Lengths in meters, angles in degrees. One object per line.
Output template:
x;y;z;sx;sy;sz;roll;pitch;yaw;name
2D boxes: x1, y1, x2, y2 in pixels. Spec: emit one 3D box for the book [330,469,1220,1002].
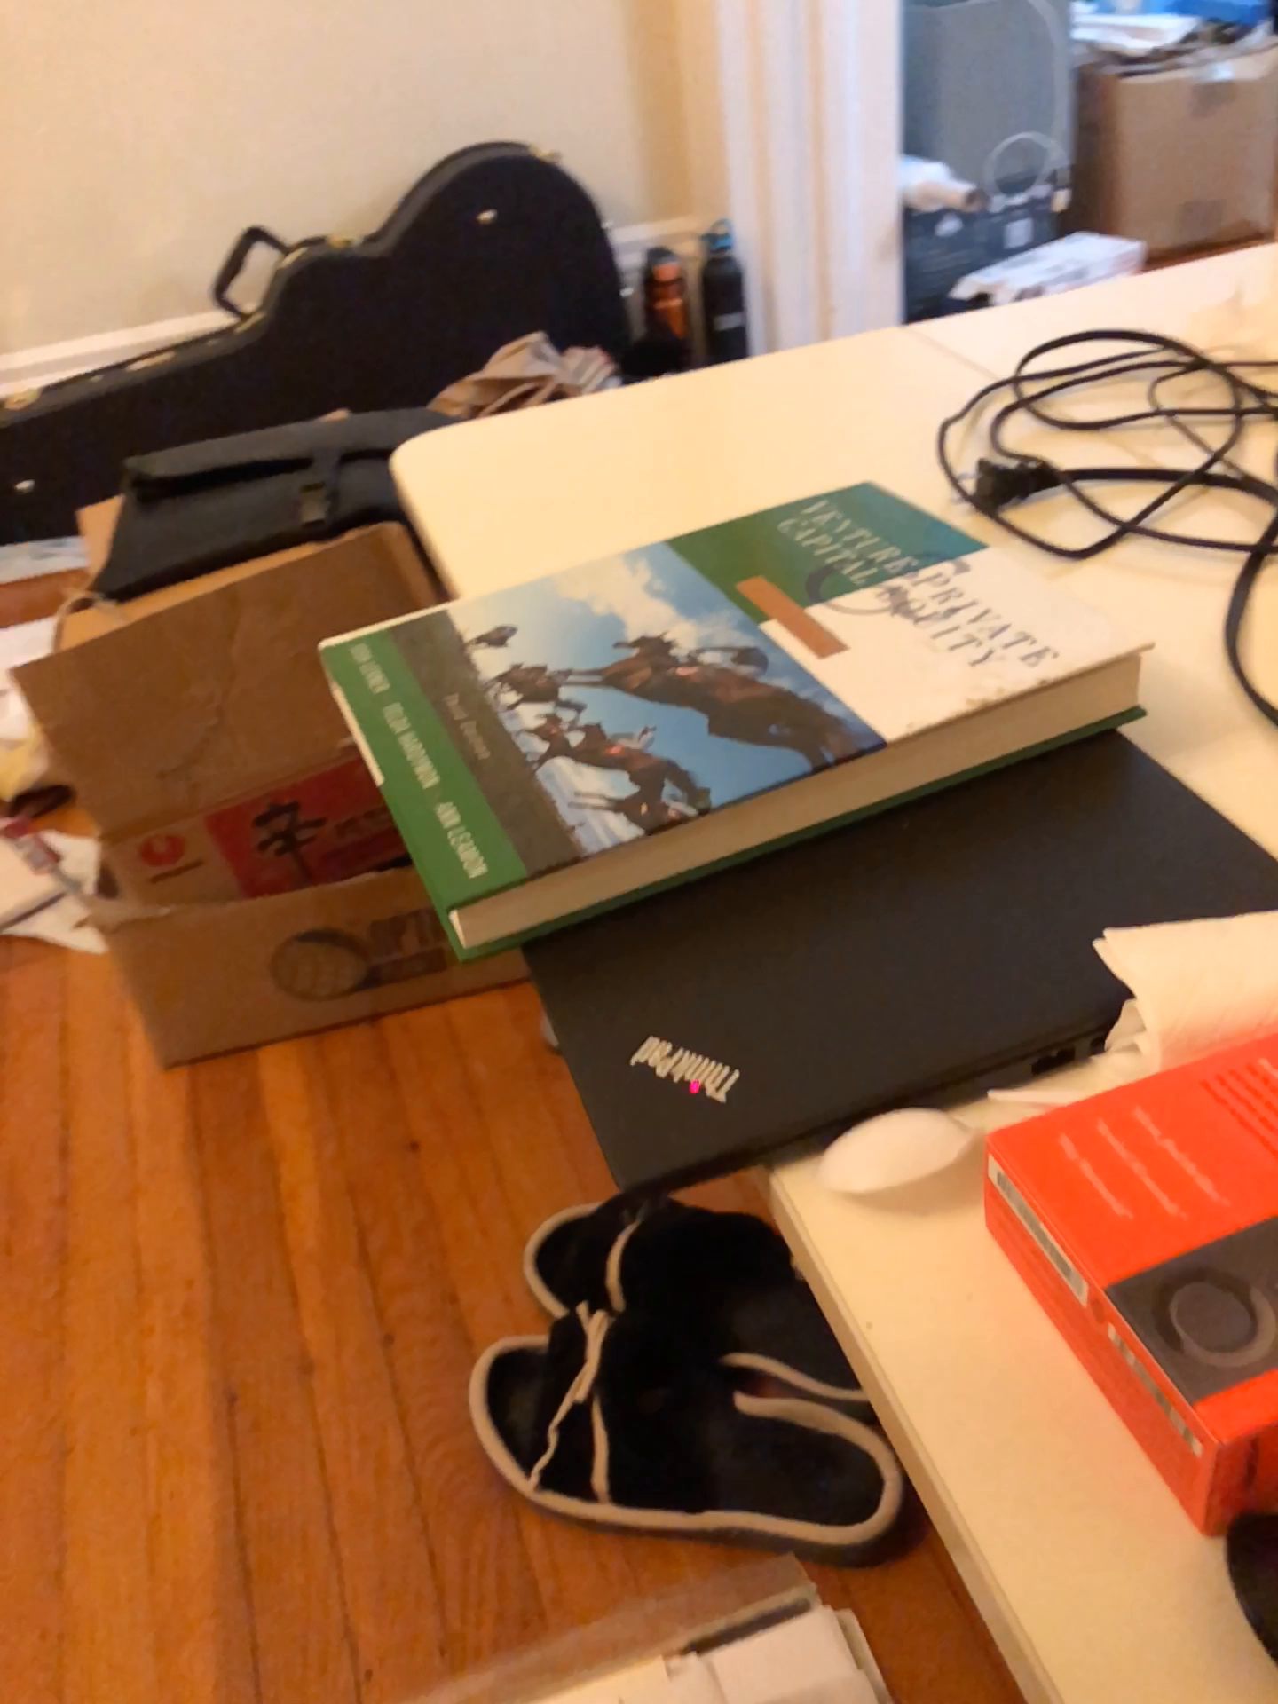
0.037;-0.065;0.548;0.270;0.030;0.221;-19;38;-13;book
